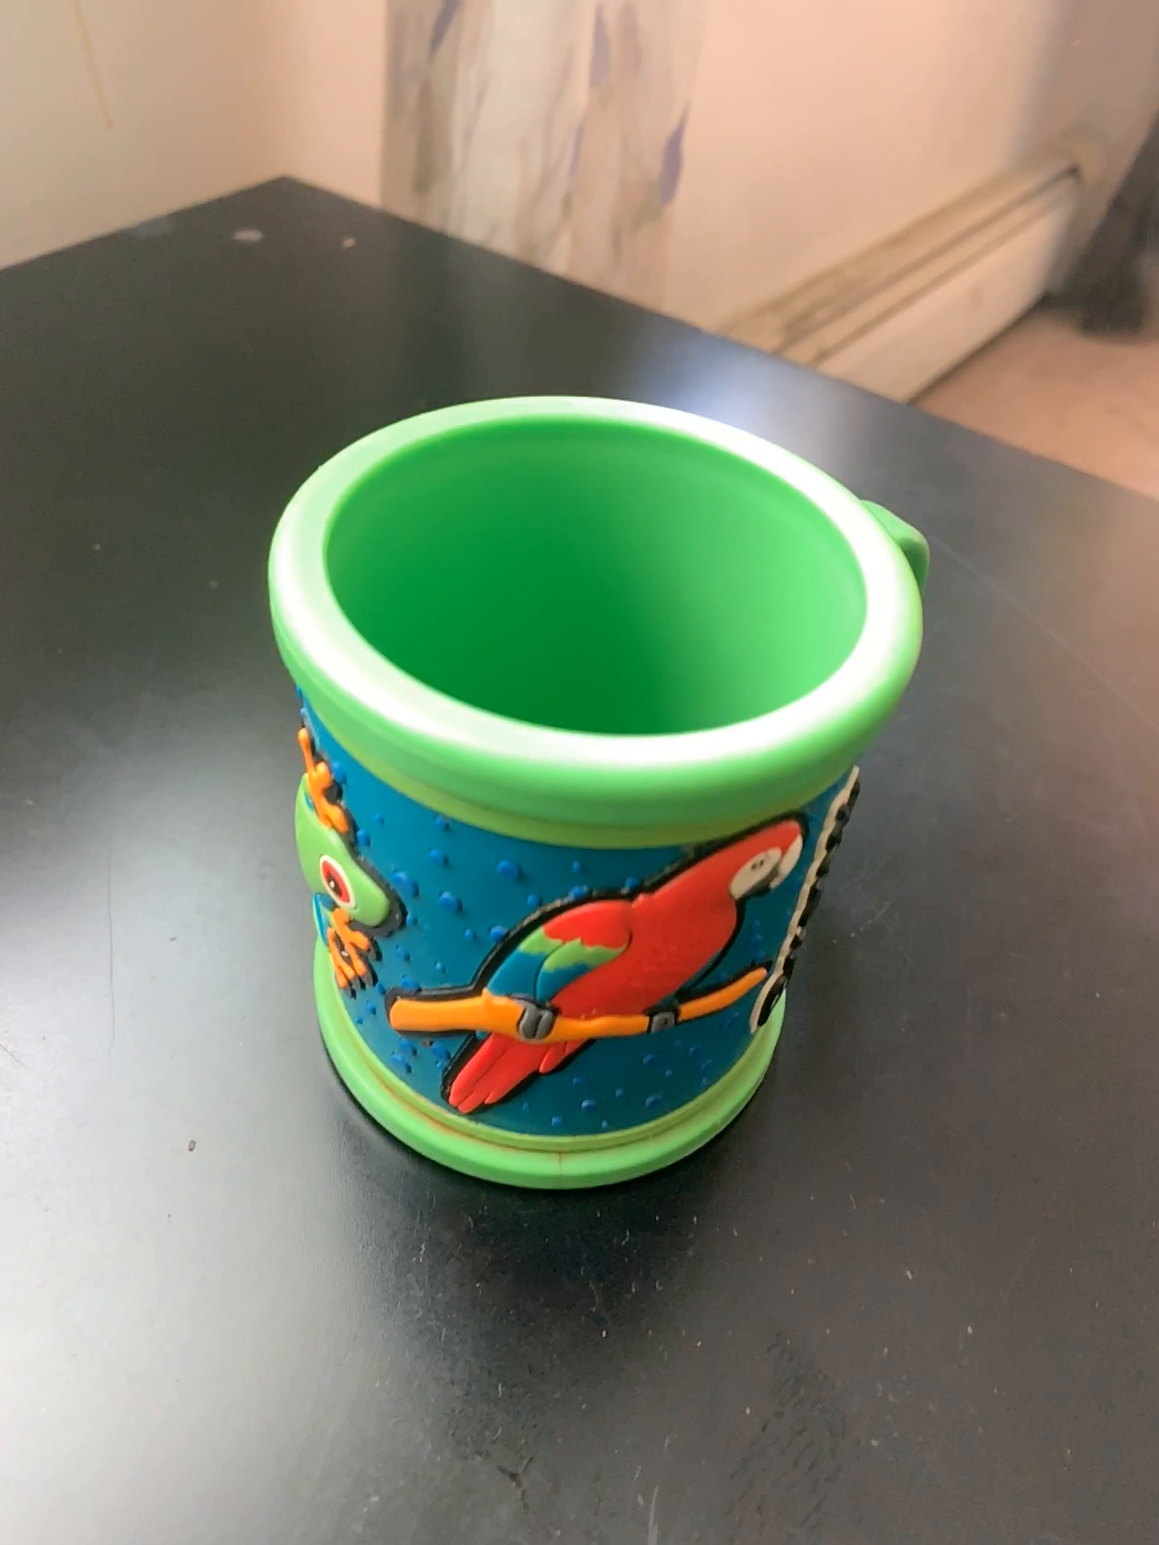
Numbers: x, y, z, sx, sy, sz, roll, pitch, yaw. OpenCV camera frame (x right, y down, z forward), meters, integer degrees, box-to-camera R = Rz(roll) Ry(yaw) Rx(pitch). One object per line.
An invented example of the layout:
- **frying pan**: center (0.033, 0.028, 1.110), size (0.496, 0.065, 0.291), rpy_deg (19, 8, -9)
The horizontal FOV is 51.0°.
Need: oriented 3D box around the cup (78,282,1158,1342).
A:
- **cup**: center (0.007, -0.001, 0.190), size (0.121, 0.099, 0.080), rpy_deg (-27, 53, -30)
